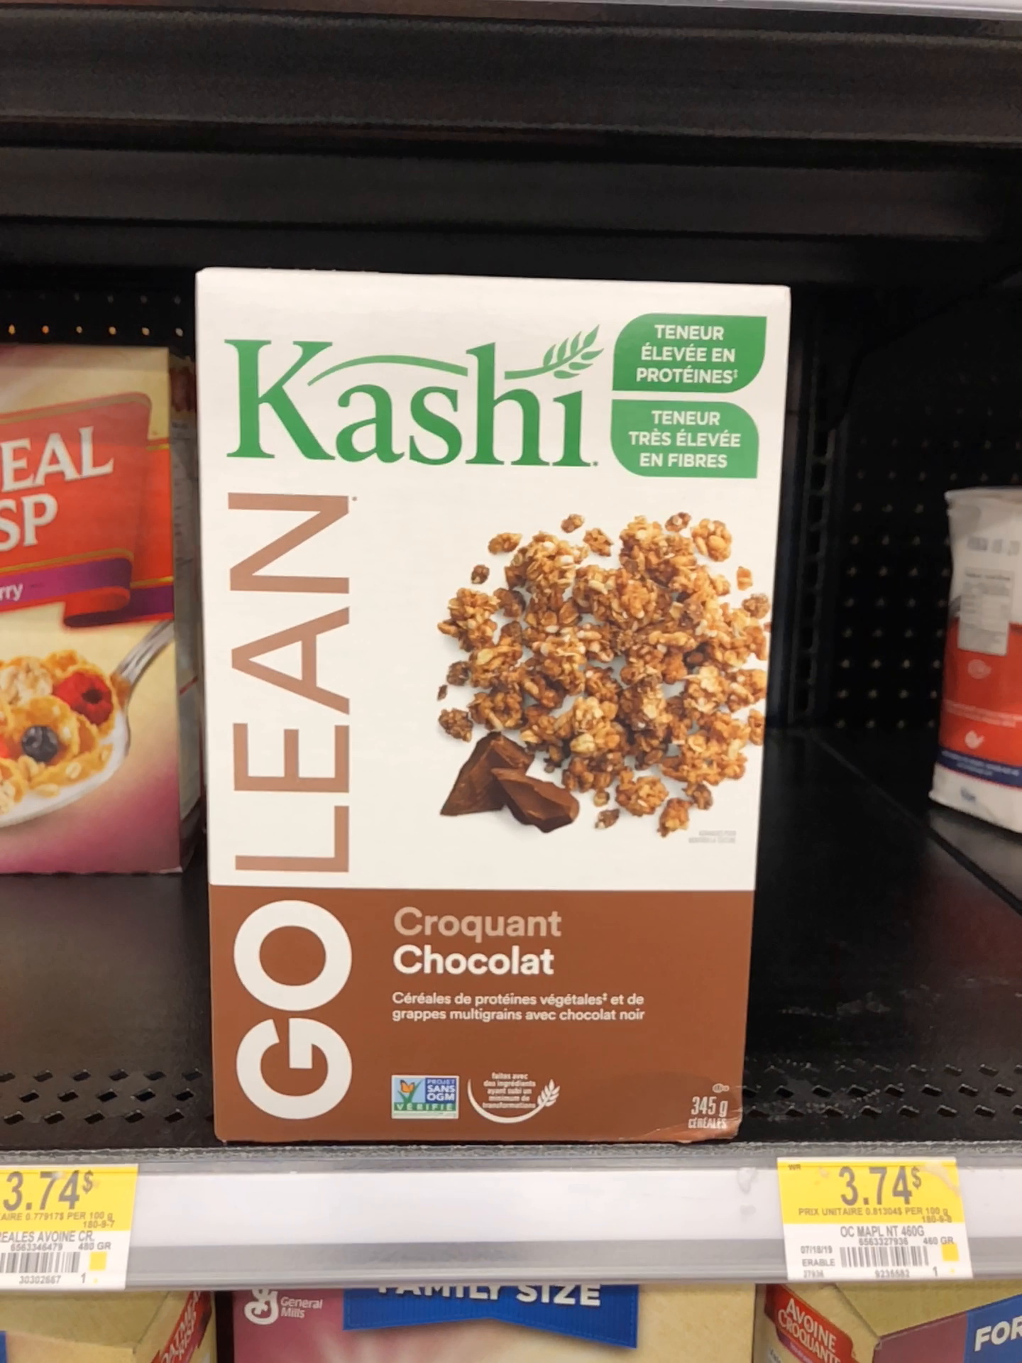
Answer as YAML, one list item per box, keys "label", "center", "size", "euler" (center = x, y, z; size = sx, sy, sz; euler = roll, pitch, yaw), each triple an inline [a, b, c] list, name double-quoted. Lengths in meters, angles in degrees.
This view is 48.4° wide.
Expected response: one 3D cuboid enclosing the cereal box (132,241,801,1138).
- label: "cereal box"
  center: [-0.013, 0.007, 0.337]
  size: [0.170, 0.249, 0.050]
  euler: [1, 11, -3]
